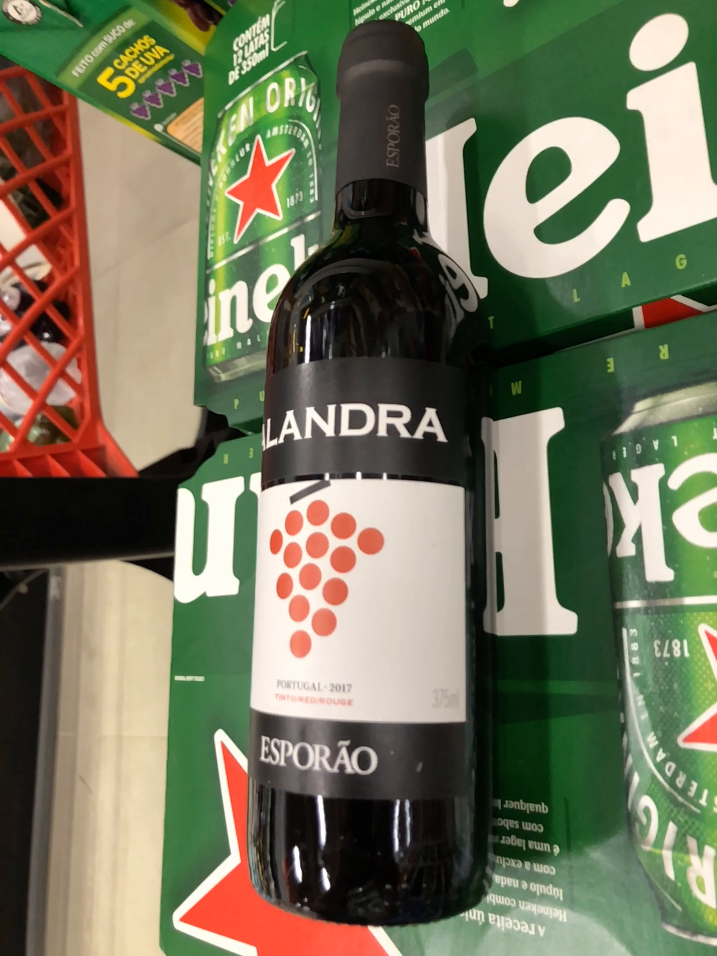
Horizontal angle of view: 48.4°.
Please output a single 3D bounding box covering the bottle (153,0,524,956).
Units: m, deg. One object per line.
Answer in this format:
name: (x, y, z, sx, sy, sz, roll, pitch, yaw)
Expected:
bottle: (0.002, -0.021, 0.200, 0.060, 0.060, 0.240, -5, 77, 28)
